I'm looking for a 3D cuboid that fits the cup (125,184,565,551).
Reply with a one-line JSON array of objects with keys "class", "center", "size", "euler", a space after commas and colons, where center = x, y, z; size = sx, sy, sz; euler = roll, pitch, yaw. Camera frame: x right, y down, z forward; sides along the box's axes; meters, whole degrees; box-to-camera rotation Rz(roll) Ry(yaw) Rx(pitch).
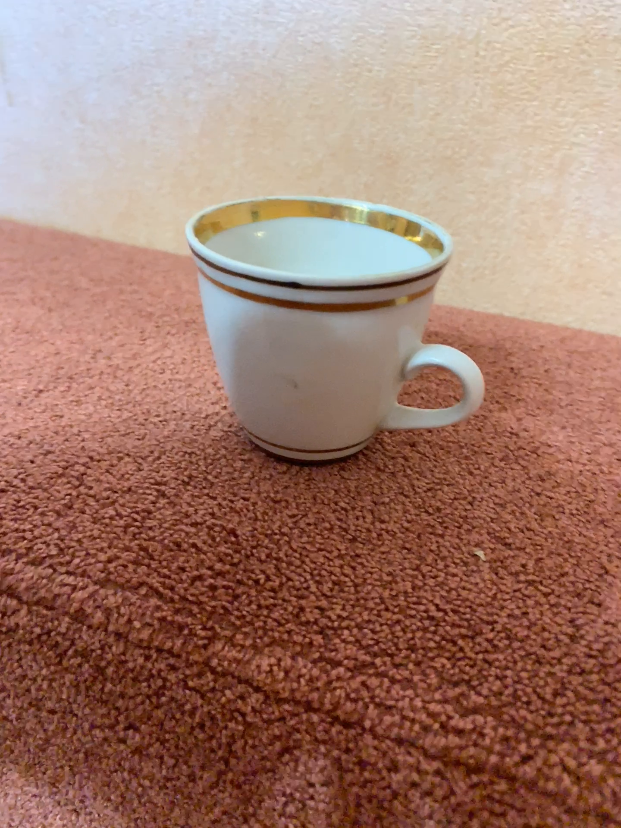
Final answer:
[{"class": "cup", "center": [0.008, -0.017, 0.154], "size": [0.078, 0.048, 0.055], "euler": [20, 37, 25]}]
